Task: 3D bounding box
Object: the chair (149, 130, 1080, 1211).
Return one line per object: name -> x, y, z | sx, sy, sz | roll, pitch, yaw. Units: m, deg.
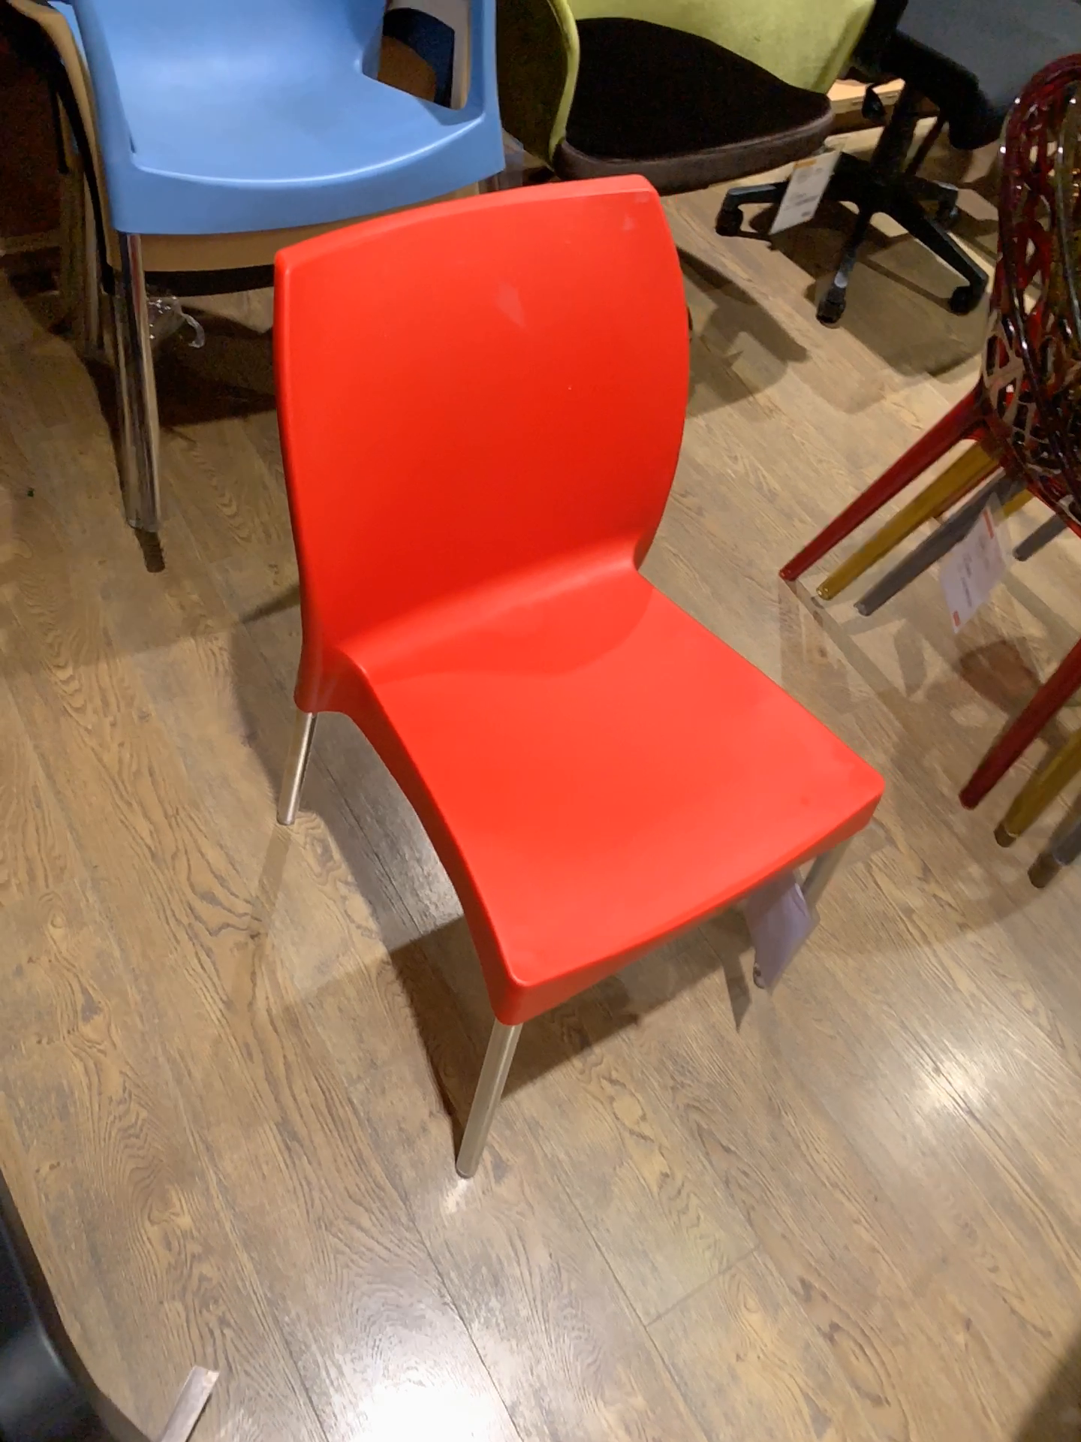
chair -> 0.033, -0.010, 1.111 | 0.521, 0.788, 0.591 | -25, 63, -25
